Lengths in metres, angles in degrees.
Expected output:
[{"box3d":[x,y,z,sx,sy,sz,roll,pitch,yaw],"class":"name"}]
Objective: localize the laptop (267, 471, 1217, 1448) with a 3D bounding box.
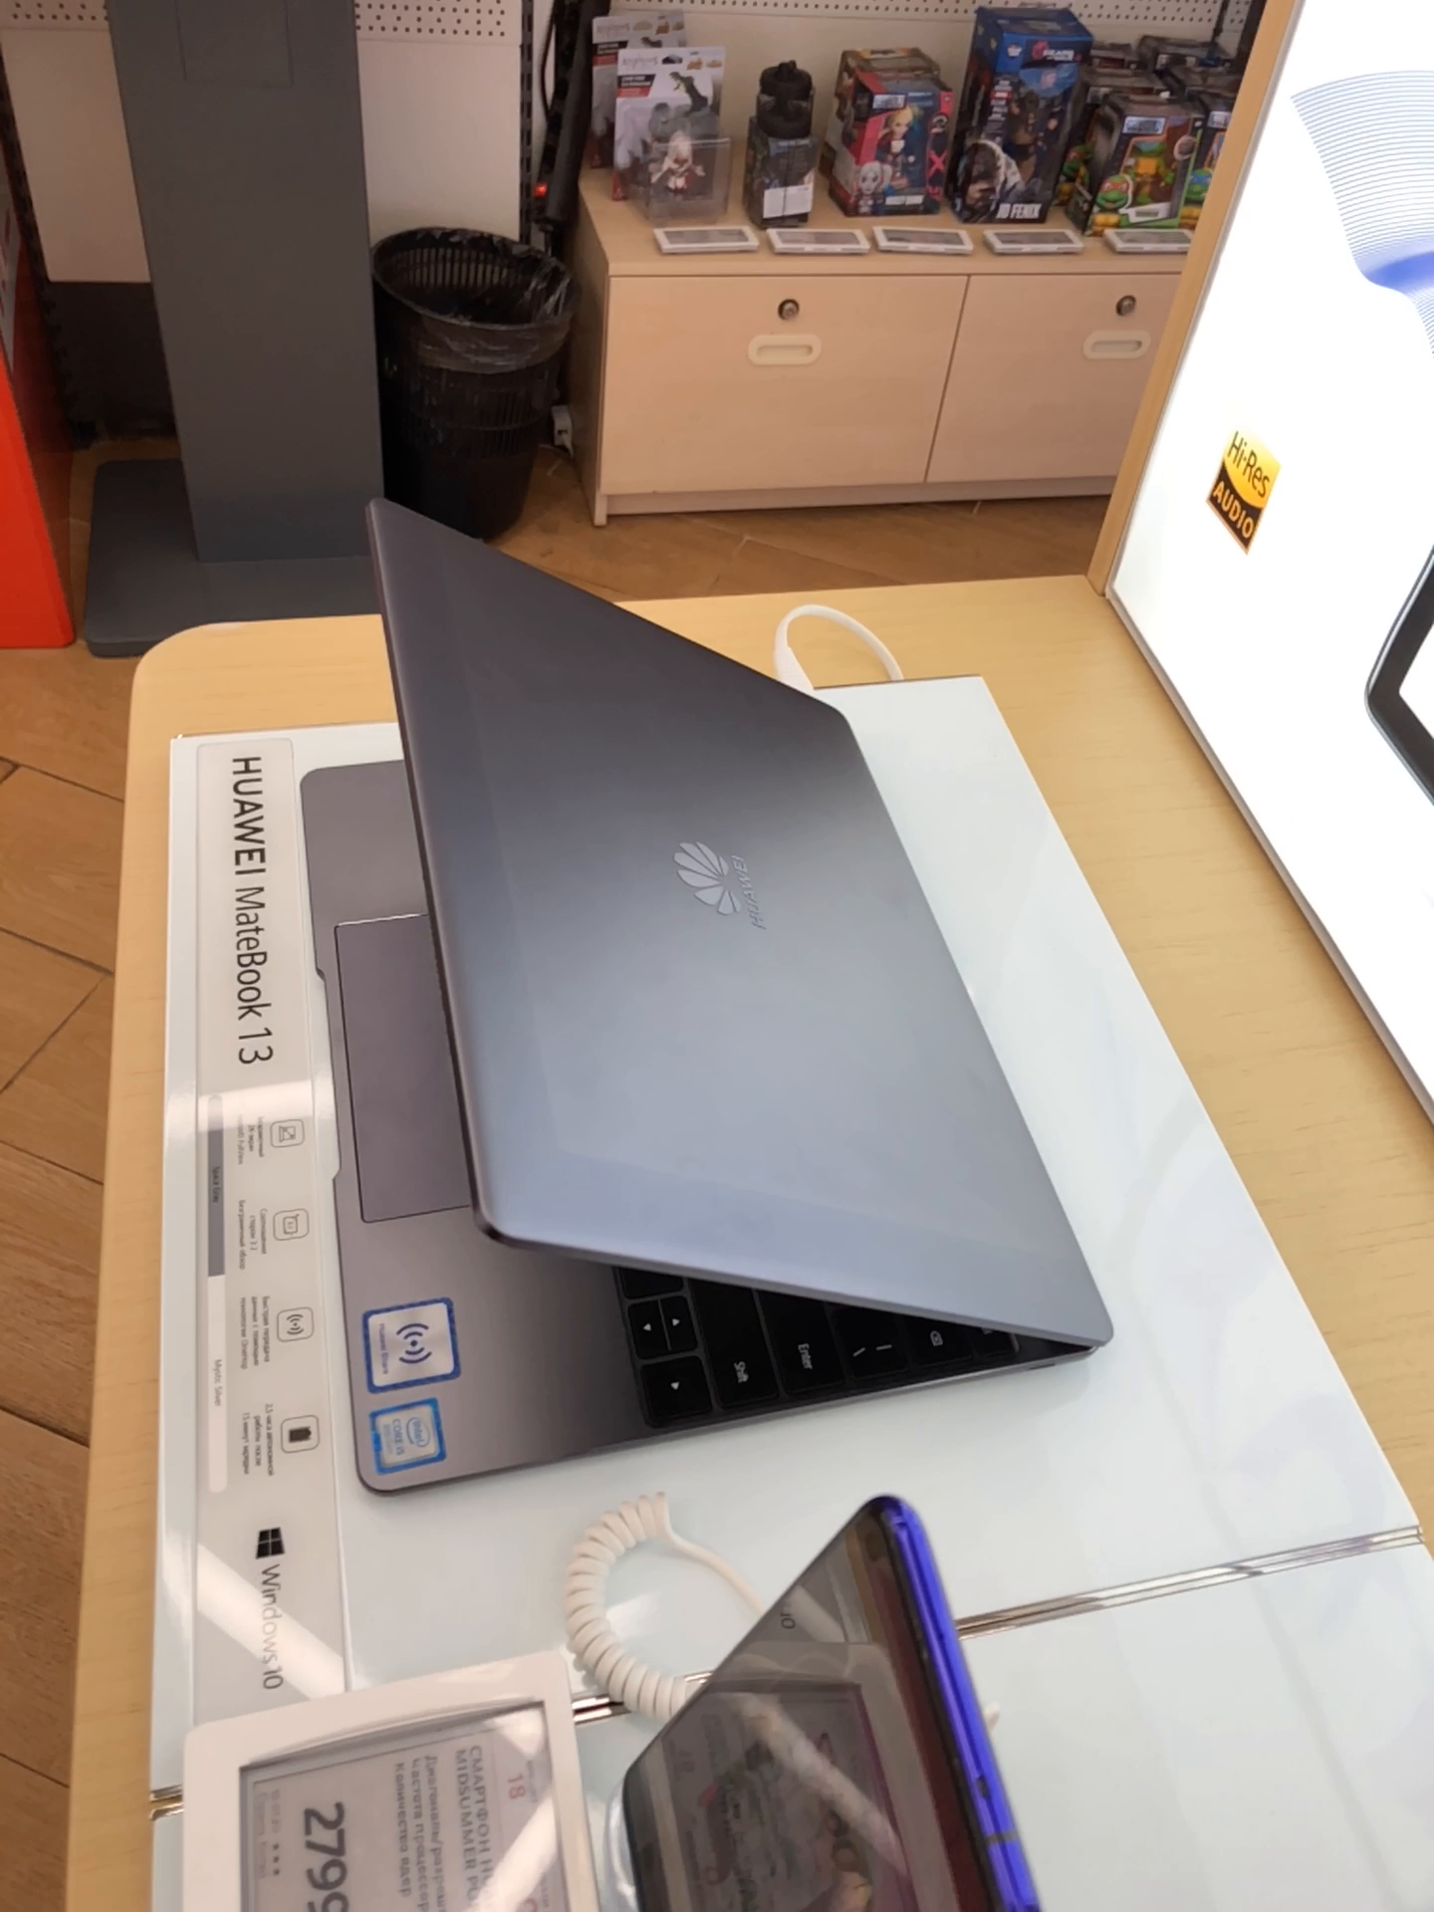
[{"box3d":[-0.017,-0.020,0.481,0.204,0.106,0.272,-8,50,-13],"class":"laptop"}]
